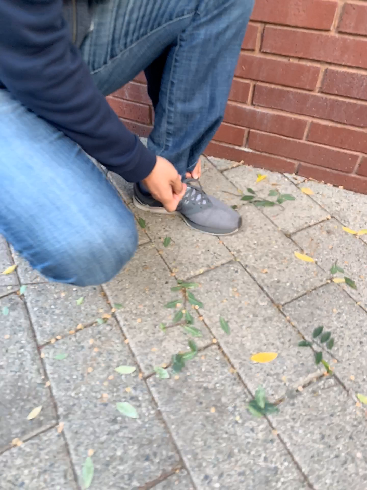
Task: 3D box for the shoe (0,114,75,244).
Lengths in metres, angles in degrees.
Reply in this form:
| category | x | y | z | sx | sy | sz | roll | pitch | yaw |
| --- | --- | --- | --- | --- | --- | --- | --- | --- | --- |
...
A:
| category | x | y | z | sx | sy | sz | roll | pitch | yaw |
| --- | --- | --- | --- | --- | --- | --- | --- | --- | --- |
| shoe | -0.356 | -0.152 | 0.895 | 0.115 | 0.274 | 0.098 | -15 | 6 | -13 |

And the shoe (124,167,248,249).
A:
| category | x | y | z | sx | sy | sz | roll | pitch | yaw |
| --- | --- | --- | --- | --- | --- | --- | --- | --- | --- |
| shoe | 0.004 | -0.098 | 0.932 | 0.280 | 0.083 | 0.111 | 19 | 47 | 16 |
